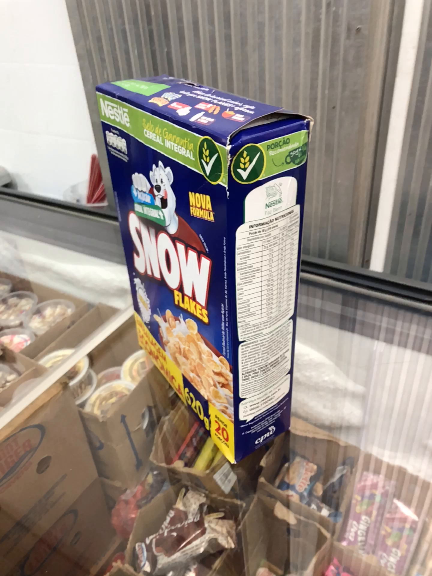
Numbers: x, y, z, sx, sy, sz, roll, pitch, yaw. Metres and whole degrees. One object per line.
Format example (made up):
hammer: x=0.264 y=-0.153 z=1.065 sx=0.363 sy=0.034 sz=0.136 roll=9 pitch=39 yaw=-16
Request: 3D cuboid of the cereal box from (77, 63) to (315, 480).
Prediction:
cereal box: x=-0.021 y=-0.020 z=0.439 sx=0.070 sy=0.307 sz=0.231 roll=-22 pitch=38 yaw=-24
